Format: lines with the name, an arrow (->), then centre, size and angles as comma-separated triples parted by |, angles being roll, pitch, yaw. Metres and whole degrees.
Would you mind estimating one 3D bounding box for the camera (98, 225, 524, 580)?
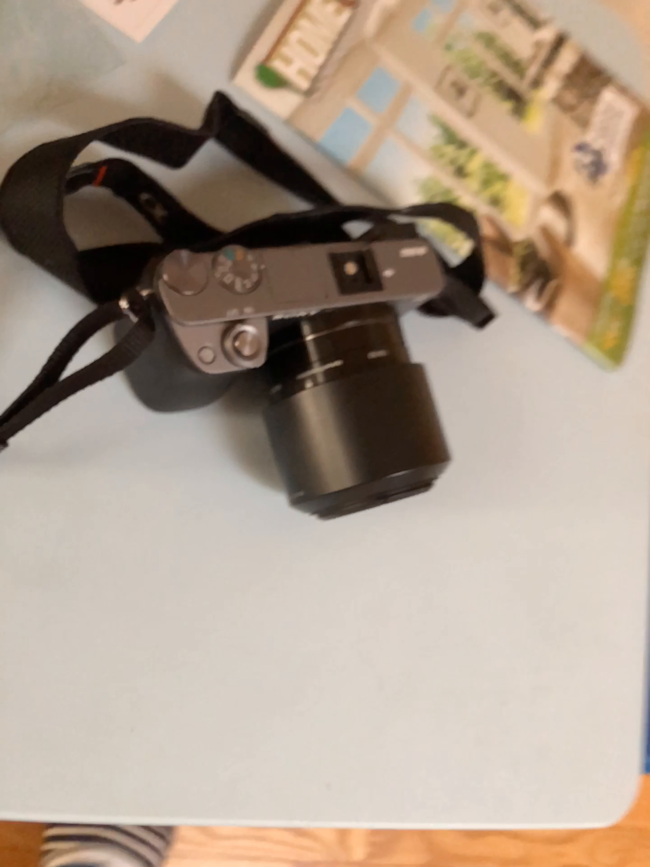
camera -> -0.006, -0.014, 0.293 | 0.130, 0.070, 0.110 | -11, 83, -31
